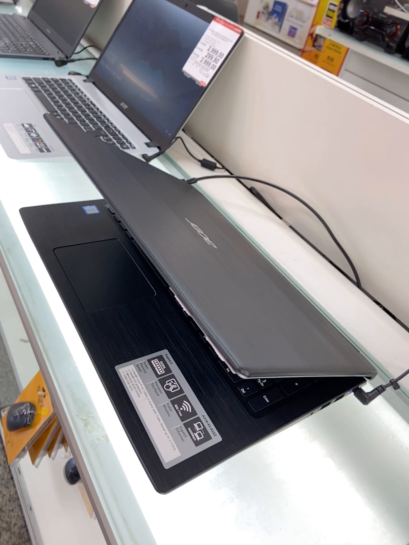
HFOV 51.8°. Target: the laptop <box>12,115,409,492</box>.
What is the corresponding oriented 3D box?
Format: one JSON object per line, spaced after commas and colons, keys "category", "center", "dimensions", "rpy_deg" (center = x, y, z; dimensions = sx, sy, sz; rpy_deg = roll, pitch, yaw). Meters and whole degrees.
{"category": "laptop", "center": [-0.021, -0.028, 0.441], "dimensions": [0.237, 0.118, 0.382], "rpy_deg": [-14, 47, -32]}
